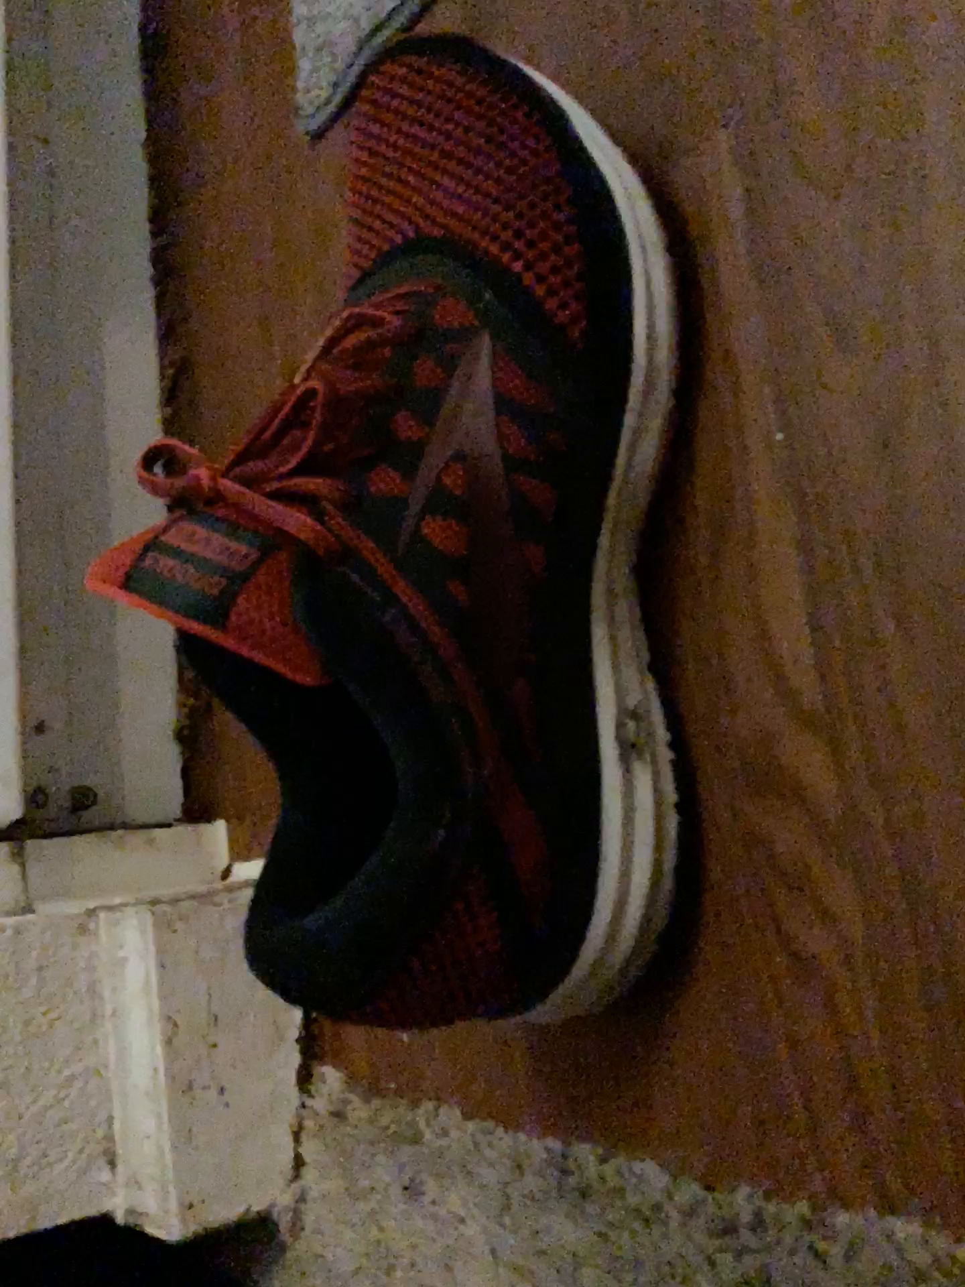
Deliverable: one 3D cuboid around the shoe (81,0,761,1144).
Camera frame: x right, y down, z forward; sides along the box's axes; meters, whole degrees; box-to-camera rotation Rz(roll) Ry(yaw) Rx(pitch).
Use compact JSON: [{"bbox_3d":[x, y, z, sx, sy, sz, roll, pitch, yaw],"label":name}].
[{"bbox_3d":[-0.027,-0.042,0.315,0.130,0.140,0.300,-12,78,52],"label":"shoe"}]
